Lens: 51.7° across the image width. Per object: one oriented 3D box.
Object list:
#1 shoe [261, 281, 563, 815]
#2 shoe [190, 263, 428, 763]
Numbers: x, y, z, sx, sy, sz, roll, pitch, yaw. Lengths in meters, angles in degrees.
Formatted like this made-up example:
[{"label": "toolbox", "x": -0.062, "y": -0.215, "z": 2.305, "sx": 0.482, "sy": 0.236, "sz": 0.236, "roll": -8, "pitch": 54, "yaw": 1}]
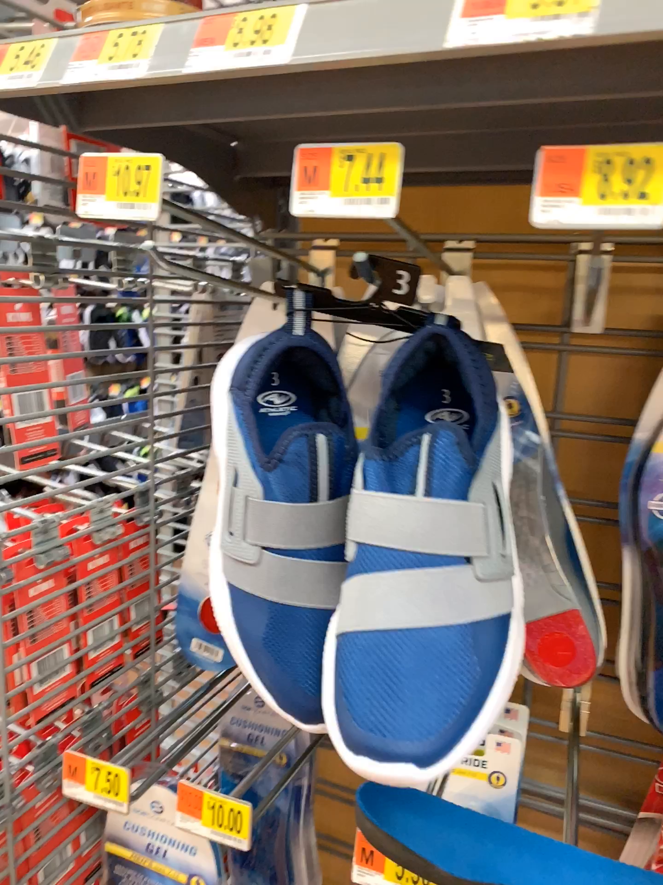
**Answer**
[{"label": "shoe", "x": 0.053, "y": 0.044, "z": 0.341, "sx": 0.101, "sy": 0.234, "sz": 0.098, "roll": 5, "pitch": -27, "yaw": 14}, {"label": "shoe", "x": -0.025, "y": 0.034, "z": 0.388, "sx": 0.095, "sy": 0.246, "sz": 0.098, "roll": -2, "pitch": -17, "yaw": -14}]
